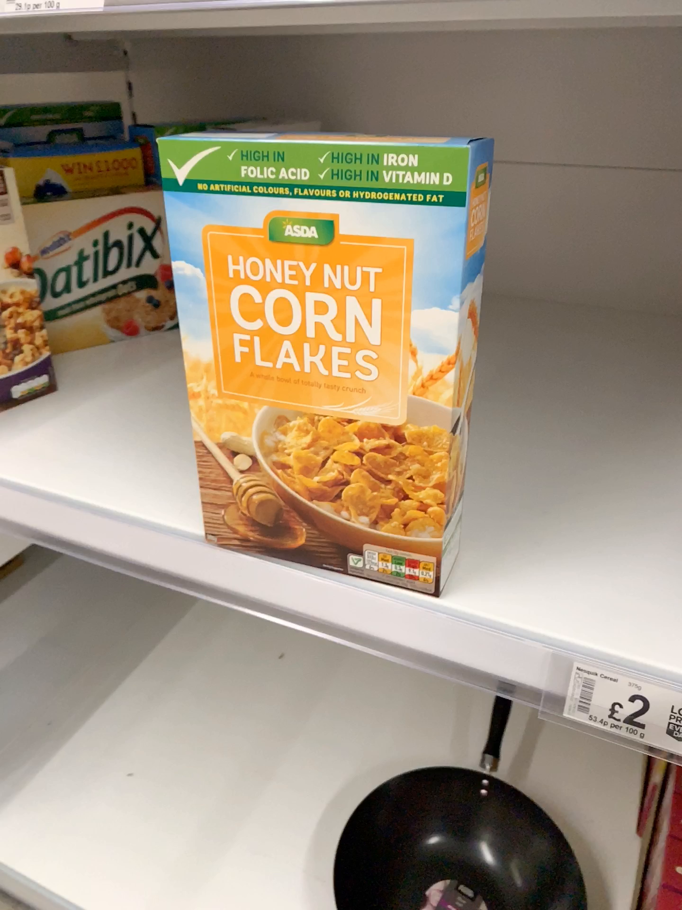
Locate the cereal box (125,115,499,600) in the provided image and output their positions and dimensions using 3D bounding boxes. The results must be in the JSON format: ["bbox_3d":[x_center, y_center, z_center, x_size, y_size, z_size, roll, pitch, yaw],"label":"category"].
[{"bbox_3d":[-0.016,-0.062,0.467,0.200,0.287,0.071,10,31,20],"label":"cereal box"}]
